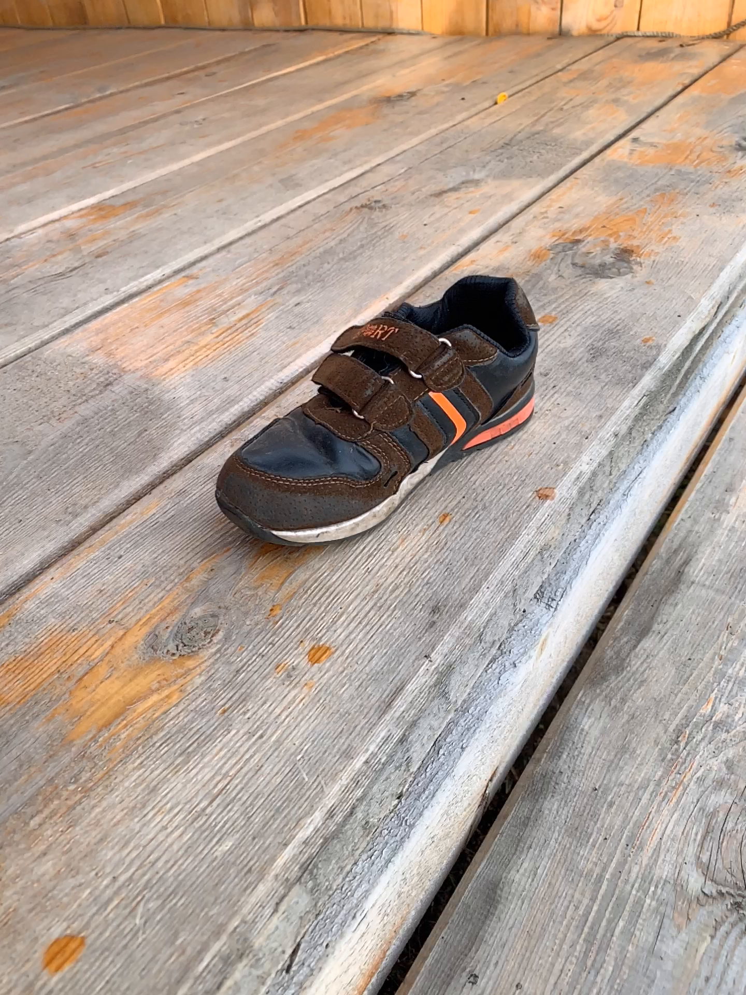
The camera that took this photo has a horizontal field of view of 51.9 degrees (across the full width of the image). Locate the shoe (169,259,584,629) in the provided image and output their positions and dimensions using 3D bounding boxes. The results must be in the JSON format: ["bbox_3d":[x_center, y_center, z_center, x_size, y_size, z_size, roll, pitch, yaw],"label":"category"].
[{"bbox_3d":[0.010,-0.039,0.398,0.191,0.089,0.090,-33,46,-29],"label":"shoe"}]
